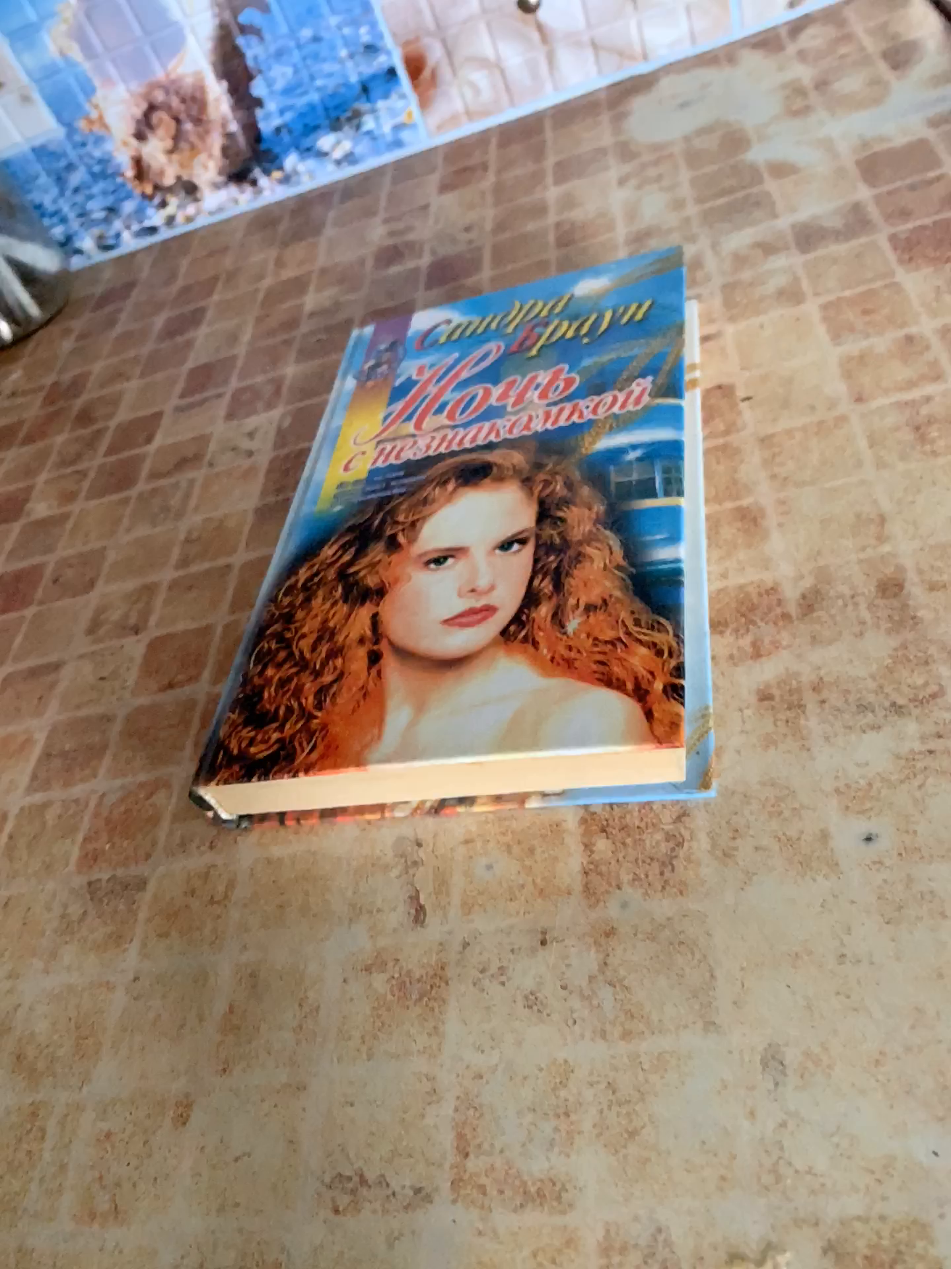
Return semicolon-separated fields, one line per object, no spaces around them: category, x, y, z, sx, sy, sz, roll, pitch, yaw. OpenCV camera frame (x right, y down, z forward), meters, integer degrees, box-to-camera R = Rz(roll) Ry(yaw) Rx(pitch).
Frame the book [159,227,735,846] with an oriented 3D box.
book;0.004;-0.037;0.285;0.130;0.028;0.199;-7;47;21
